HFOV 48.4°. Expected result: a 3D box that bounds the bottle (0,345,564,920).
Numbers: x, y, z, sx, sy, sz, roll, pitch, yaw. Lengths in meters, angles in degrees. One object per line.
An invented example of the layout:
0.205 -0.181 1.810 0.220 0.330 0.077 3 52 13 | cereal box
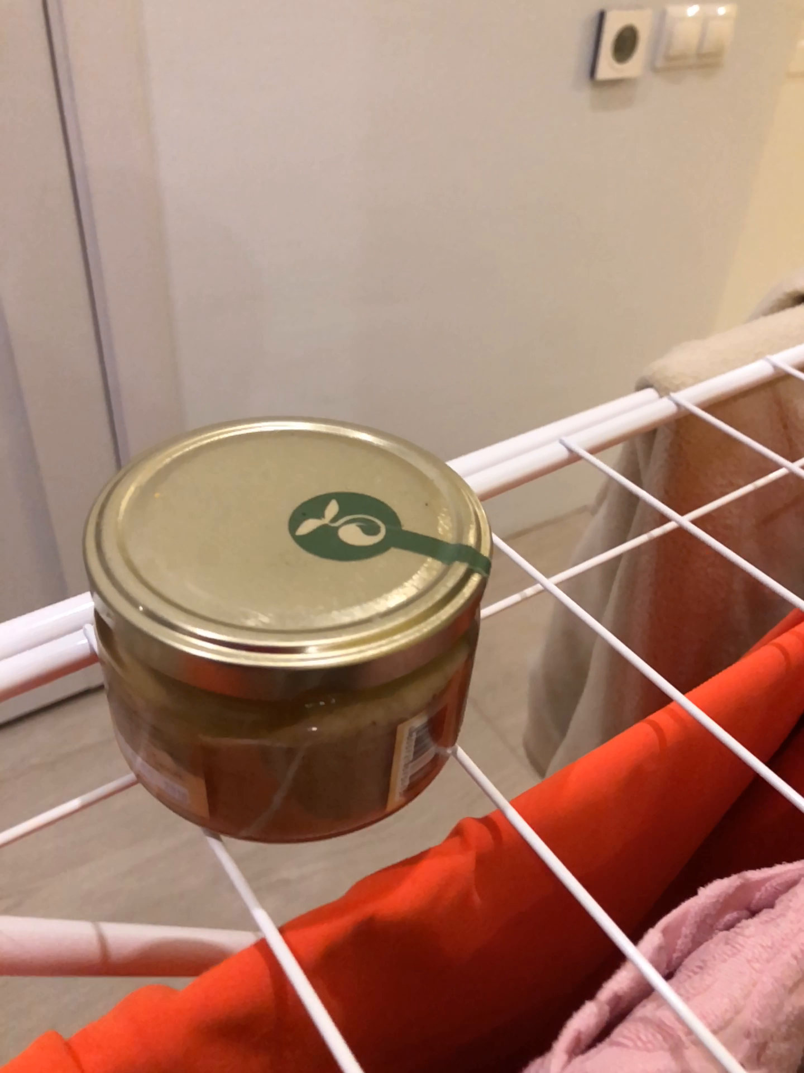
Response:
-0.026 0.012 0.203 0.090 0.060 0.091 2 38 -2 | bottle
